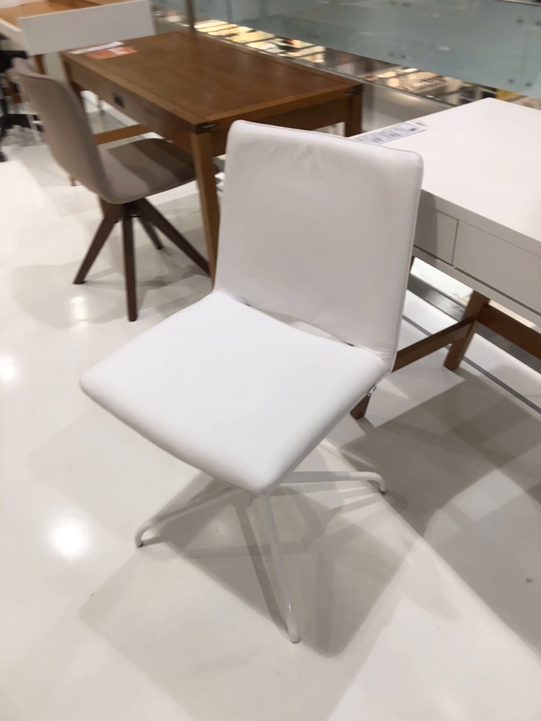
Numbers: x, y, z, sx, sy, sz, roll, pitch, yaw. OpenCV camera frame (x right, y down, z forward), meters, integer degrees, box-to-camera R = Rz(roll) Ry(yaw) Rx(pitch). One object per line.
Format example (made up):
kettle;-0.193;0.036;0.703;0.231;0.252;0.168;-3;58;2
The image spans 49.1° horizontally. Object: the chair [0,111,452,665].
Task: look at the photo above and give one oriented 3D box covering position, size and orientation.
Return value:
chair;-0.037;0.041;1.177;0.511;0.844;0.502;23;45;31
